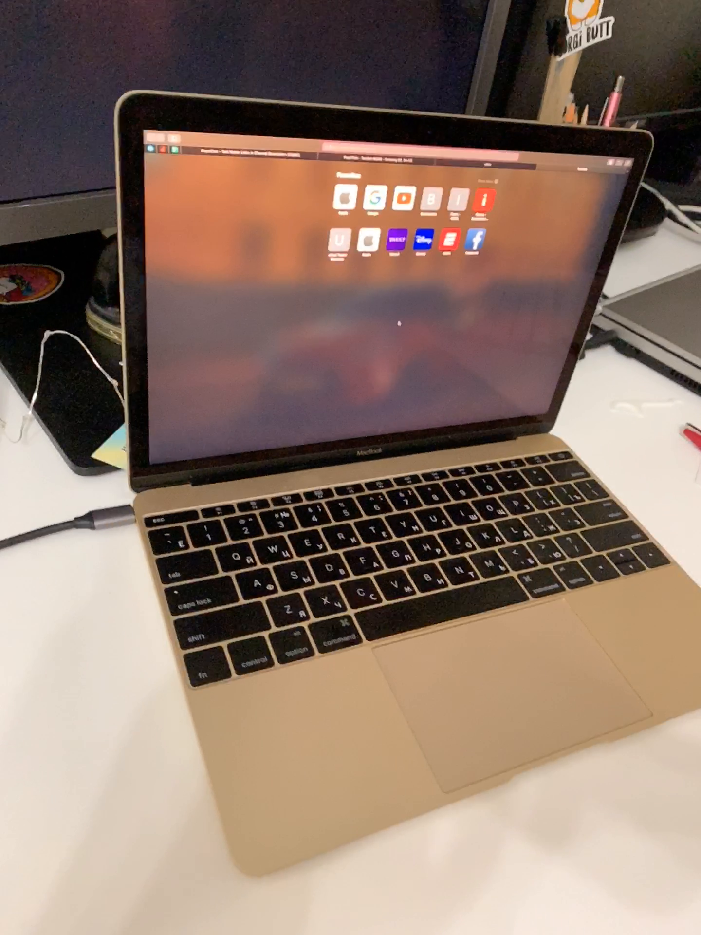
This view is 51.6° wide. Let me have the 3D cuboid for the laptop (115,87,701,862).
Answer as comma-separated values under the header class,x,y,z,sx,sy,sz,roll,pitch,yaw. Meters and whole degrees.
class,x,y,z,sx,sy,sz,roll,pitch,yaw
laptop,0.056,-0.021,0.290,0.247,0.168,0.198,-9,43,-24
